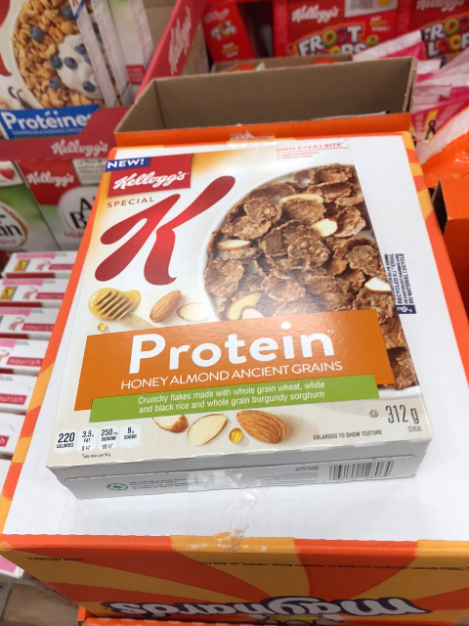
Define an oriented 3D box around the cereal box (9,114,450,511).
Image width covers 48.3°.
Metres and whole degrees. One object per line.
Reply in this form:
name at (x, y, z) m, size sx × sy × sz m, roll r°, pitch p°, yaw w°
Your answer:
cereal box at (-0.005, -0.020, 0.341) m, size 0.200 × 0.060 × 0.261 m, roll -5°, pitch 51°, yaw 4°
